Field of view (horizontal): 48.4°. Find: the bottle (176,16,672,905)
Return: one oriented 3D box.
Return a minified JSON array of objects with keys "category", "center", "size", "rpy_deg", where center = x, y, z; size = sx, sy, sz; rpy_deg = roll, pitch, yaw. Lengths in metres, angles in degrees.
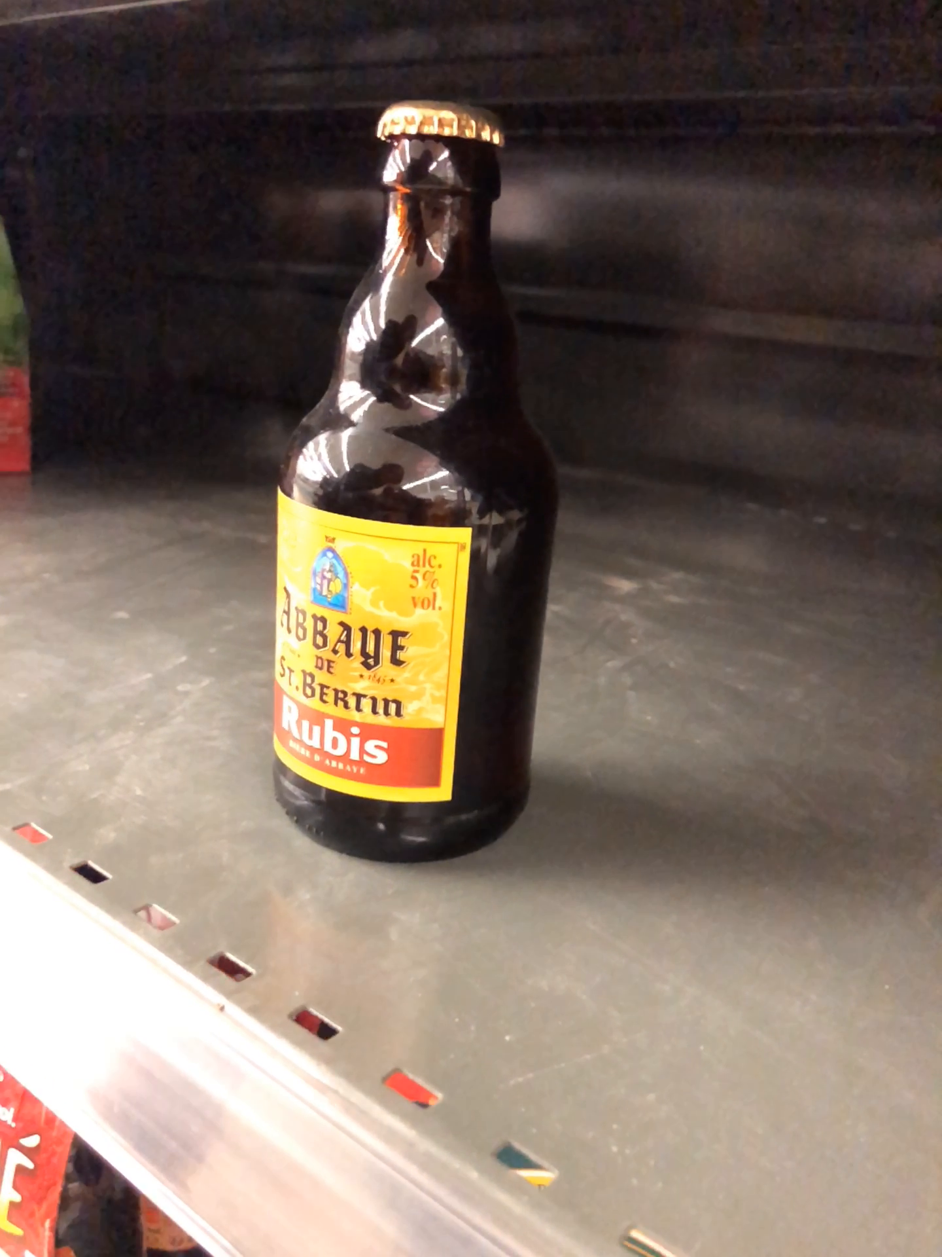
[{"category":"bottle","center":[-0.016,-0.038,0.250],"size":[0.080,0.169,0.070],"rpy_deg":[17,21,35]}]
